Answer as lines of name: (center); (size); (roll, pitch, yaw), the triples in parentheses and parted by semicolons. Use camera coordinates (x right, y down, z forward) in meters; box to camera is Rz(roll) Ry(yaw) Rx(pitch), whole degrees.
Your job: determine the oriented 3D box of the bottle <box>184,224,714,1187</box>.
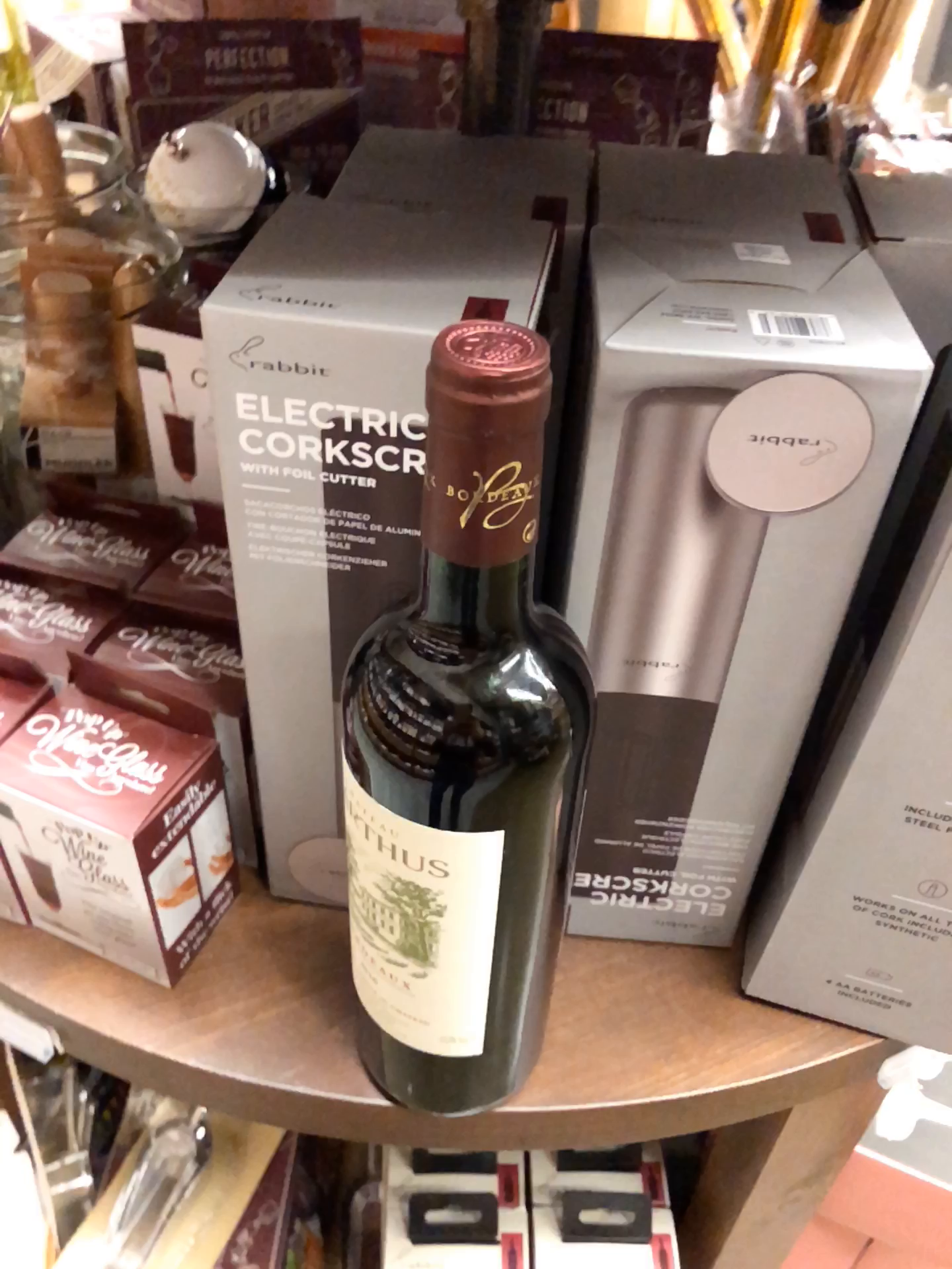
bottle: (-0.009, 0.046, 0.322); (0.080, 0.299, 0.080); (1, 40, -1)
